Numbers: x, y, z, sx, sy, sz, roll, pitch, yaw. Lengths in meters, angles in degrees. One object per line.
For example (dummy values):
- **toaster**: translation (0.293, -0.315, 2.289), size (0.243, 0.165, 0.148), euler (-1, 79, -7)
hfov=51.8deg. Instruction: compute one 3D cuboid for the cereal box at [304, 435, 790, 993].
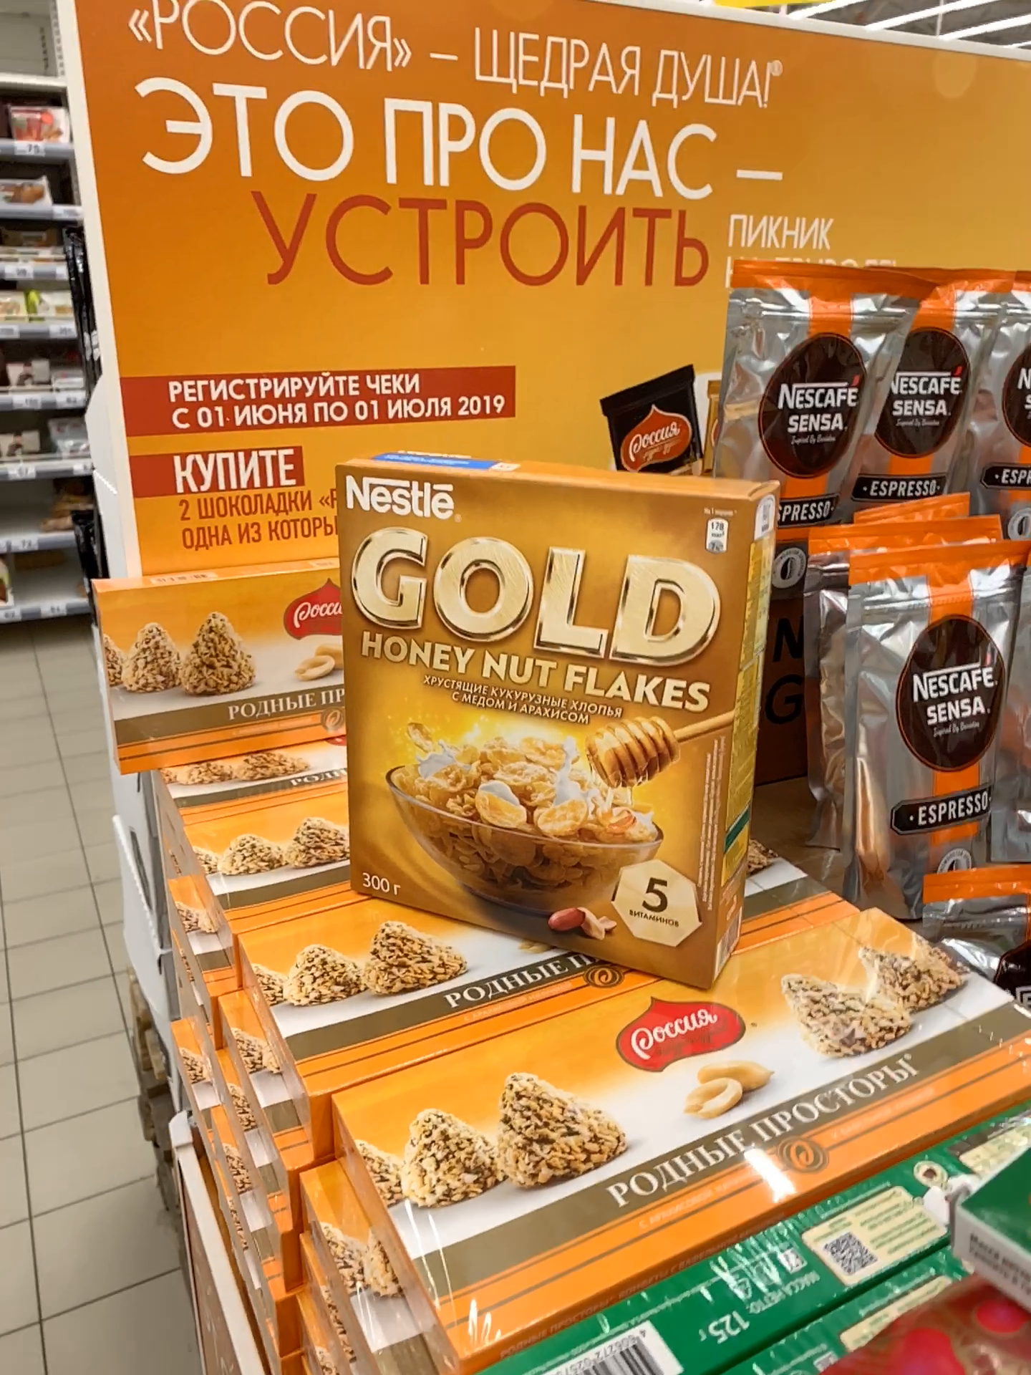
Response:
- **cereal box**: translation (0.009, 0.005, 0.491), size (0.200, 0.219, 0.060), euler (10, 22, 23)
